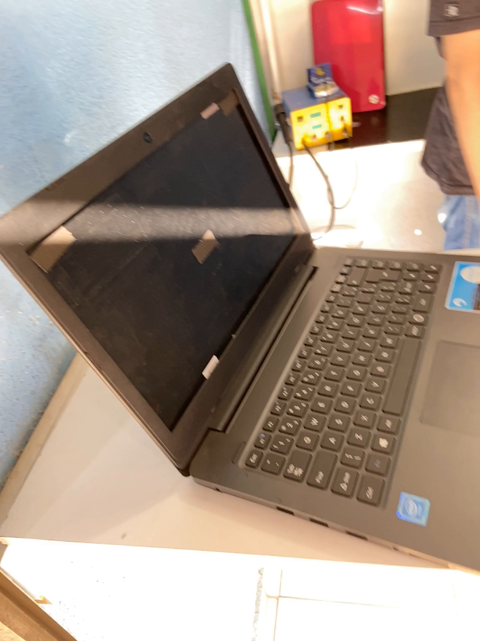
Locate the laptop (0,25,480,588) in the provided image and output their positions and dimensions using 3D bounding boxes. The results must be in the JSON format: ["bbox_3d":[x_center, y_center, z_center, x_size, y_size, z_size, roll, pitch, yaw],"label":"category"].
[{"bbox_3d":[0.076,-0.058,0.401,0.310,0.214,0.339,8,43,27],"label":"laptop"}]
